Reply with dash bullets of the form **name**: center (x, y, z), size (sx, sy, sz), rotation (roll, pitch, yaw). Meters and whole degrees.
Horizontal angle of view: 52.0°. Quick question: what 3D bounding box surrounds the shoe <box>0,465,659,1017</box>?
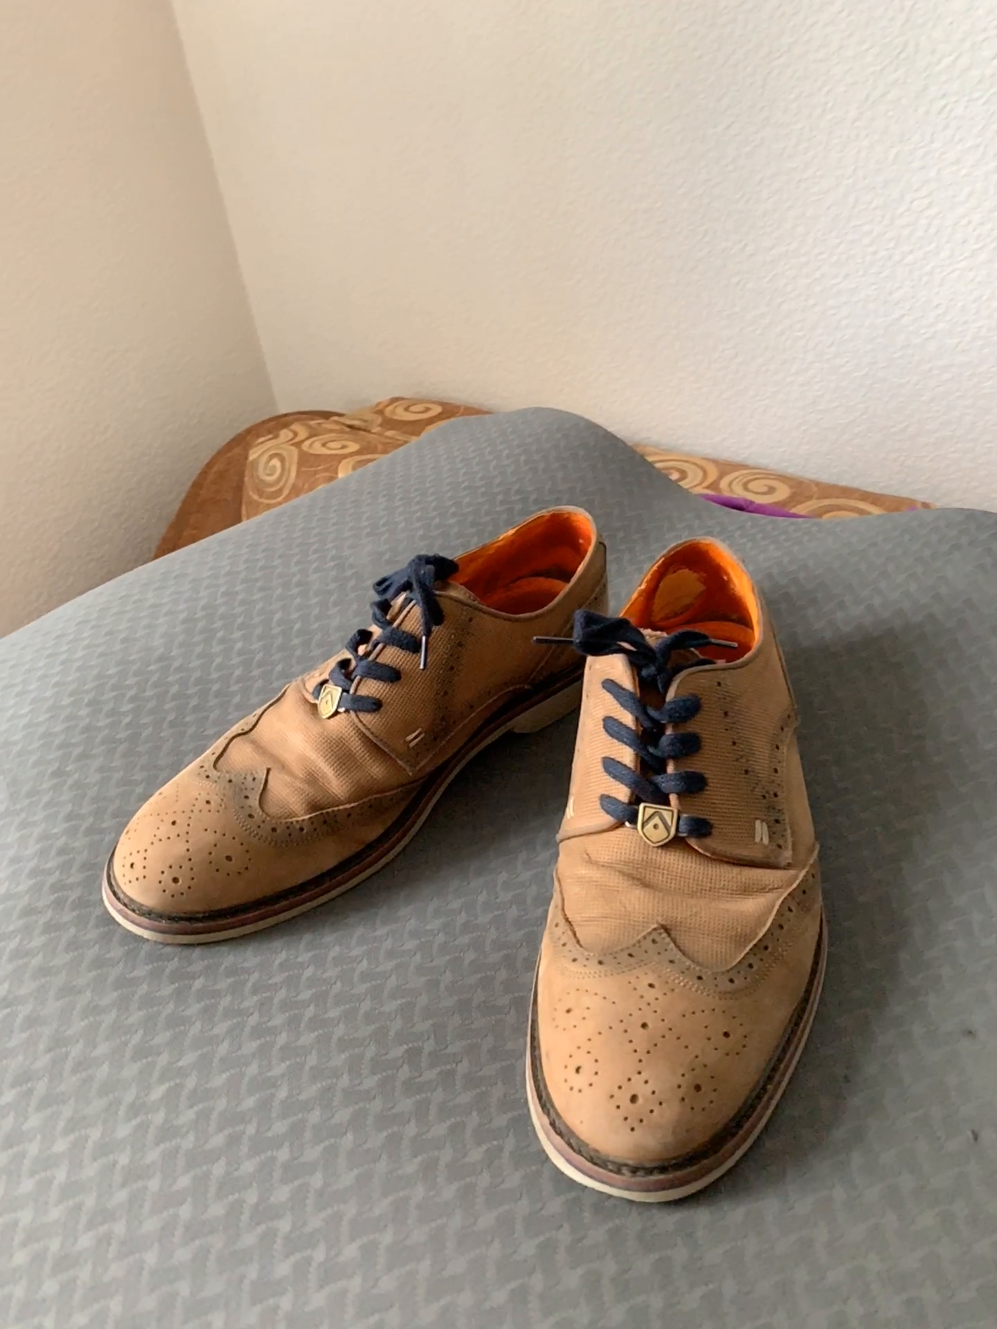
- **shoe**: center (-0.061, 0.015, 0.501), size (0.300, 0.089, 0.110), rotation (-34, 44, -30)

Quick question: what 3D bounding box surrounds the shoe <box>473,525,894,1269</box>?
- **shoe**: center (0.081, 0.058, 0.409), size (0.110, 0.089, 0.291), rotation (2, 38, 13)
